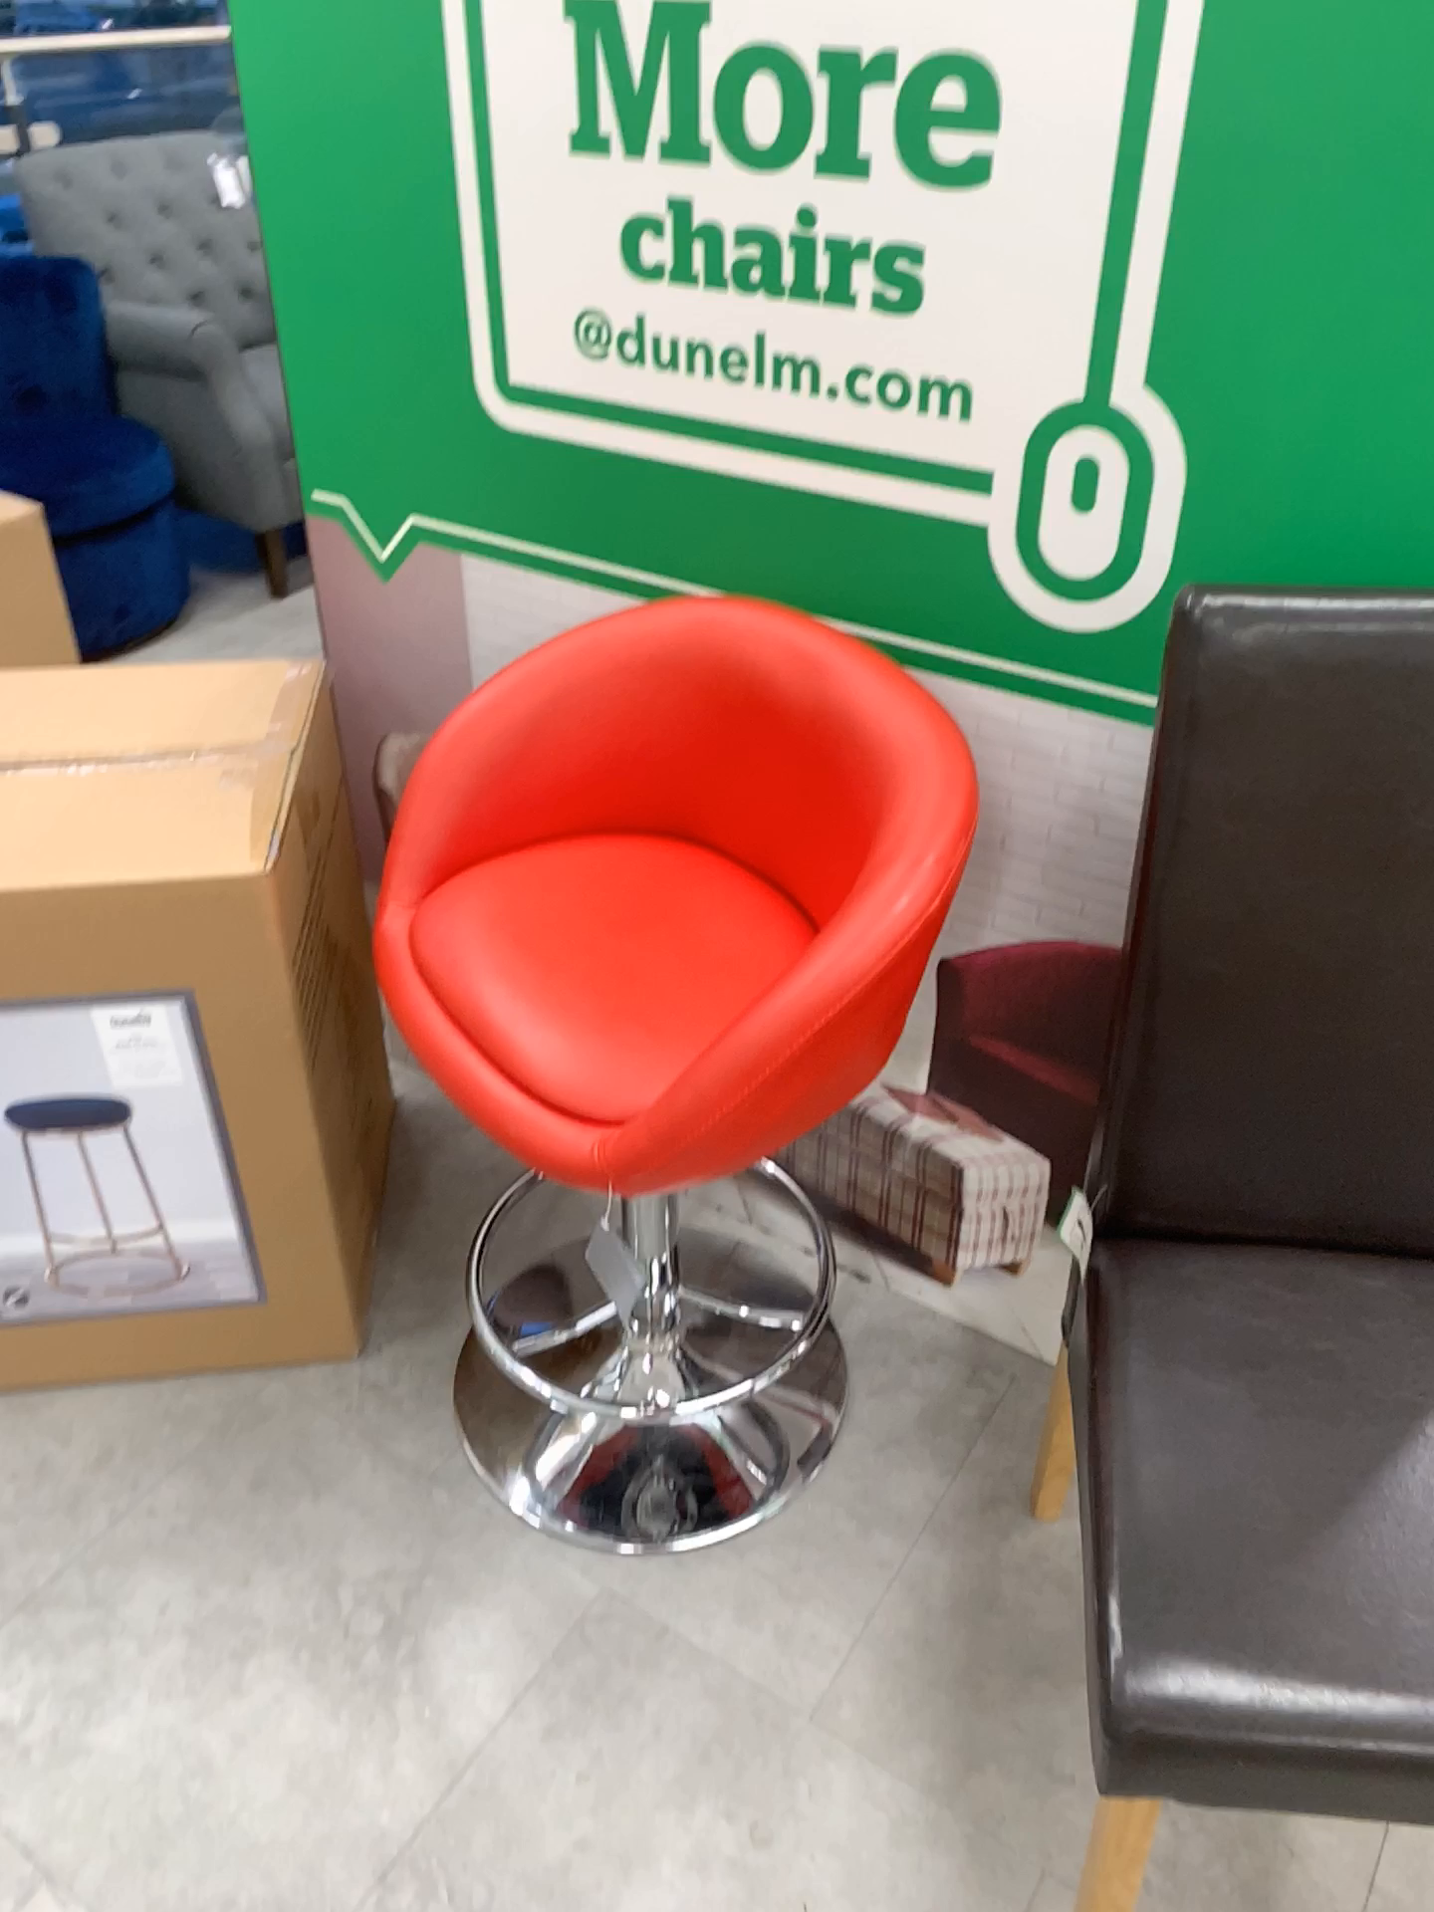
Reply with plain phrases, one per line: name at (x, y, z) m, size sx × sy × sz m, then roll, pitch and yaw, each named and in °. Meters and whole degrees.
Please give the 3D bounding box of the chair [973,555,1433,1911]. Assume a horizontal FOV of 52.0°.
chair at (0.445, 0.285, 0.965) m, size 0.444 × 0.919 × 0.522 m, roll 4°, pitch 34°, yaw 5°

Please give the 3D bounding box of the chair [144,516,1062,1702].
chair at (-0.099, 0.106, 1.279) m, size 0.479 × 0.761 × 0.498 m, roll -22°, pitch 40°, yaw -28°
